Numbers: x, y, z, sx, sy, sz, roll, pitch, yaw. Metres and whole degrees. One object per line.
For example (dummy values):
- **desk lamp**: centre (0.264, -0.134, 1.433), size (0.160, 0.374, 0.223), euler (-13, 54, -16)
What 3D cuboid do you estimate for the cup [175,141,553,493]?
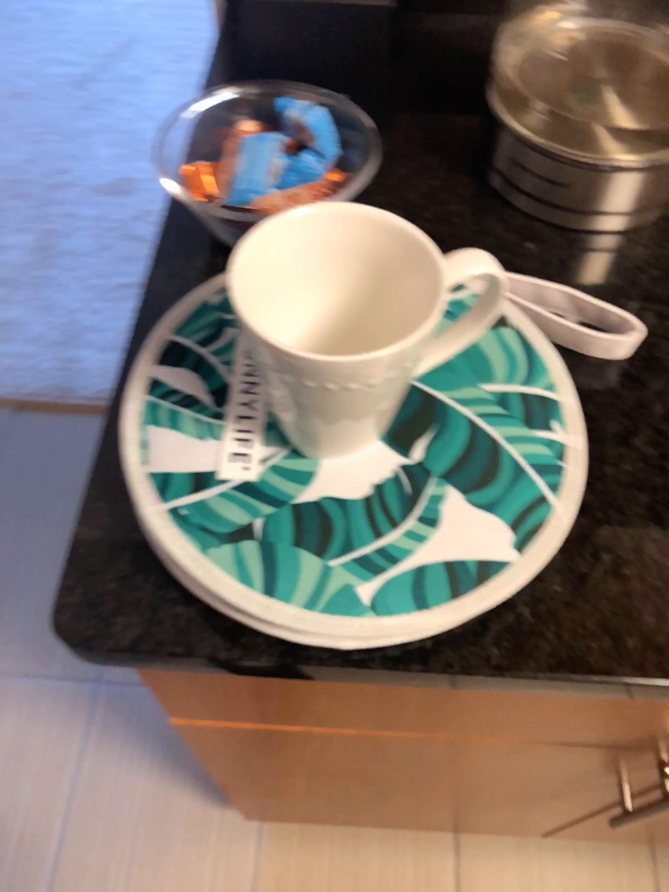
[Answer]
- **cup**: centre (0.010, -0.060, 0.346), size (0.130, 0.090, 0.090), euler (-22, 59, -14)
